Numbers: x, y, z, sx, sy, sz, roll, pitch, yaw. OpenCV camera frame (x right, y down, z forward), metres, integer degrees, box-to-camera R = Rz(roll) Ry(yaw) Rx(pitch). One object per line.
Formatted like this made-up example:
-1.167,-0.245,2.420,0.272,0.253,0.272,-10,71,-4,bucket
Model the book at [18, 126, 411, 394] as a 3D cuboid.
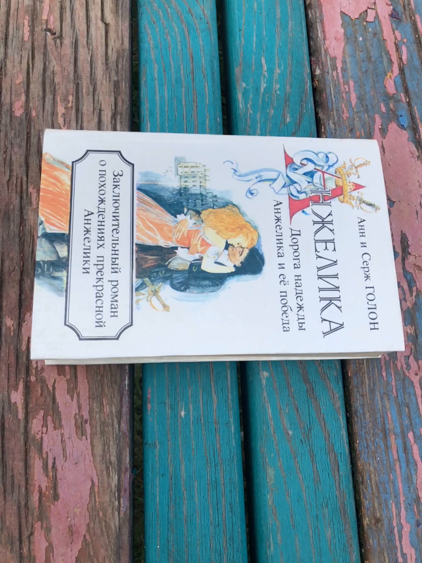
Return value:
0.003,-0.014,0.286,0.213,0.032,0.153,0,77,-6,book
